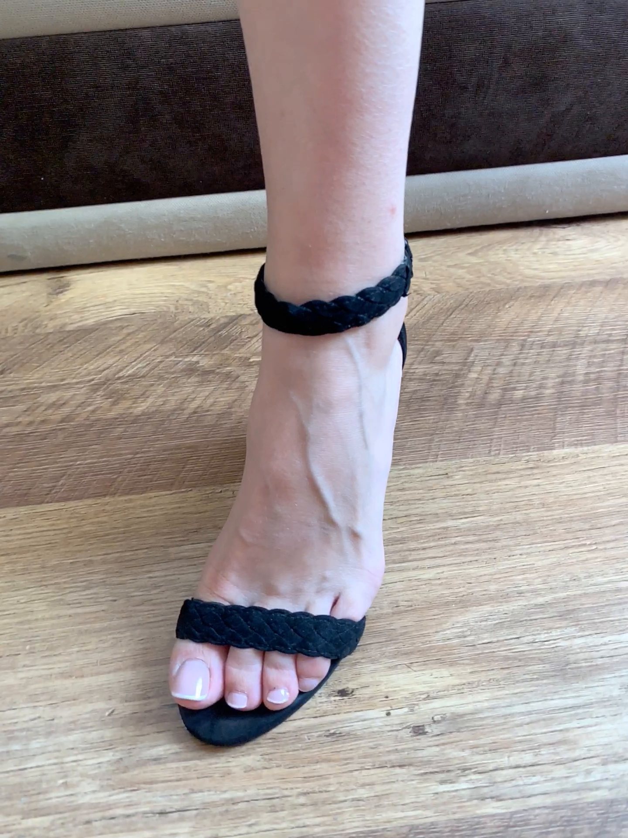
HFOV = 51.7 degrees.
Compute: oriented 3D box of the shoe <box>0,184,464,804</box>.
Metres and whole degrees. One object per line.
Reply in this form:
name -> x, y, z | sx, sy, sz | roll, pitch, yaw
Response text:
shoe -> -0.005, 0.014, 0.299 | 0.090, 0.149, 0.231 | 12, 44, 17
